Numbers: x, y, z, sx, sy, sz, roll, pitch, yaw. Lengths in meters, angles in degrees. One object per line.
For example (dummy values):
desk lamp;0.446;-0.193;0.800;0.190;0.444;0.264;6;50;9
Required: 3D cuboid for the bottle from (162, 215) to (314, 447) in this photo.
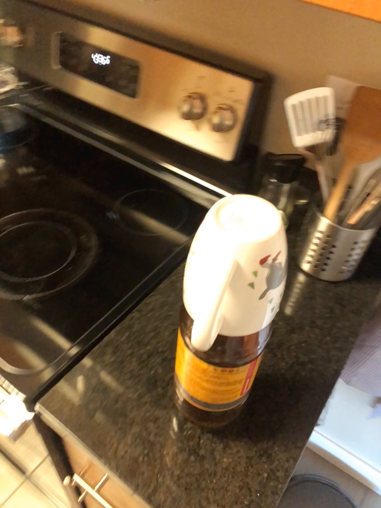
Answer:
bottle;0.035;0.103;0.489;0.100;0.279;0.100;3;45;-3
